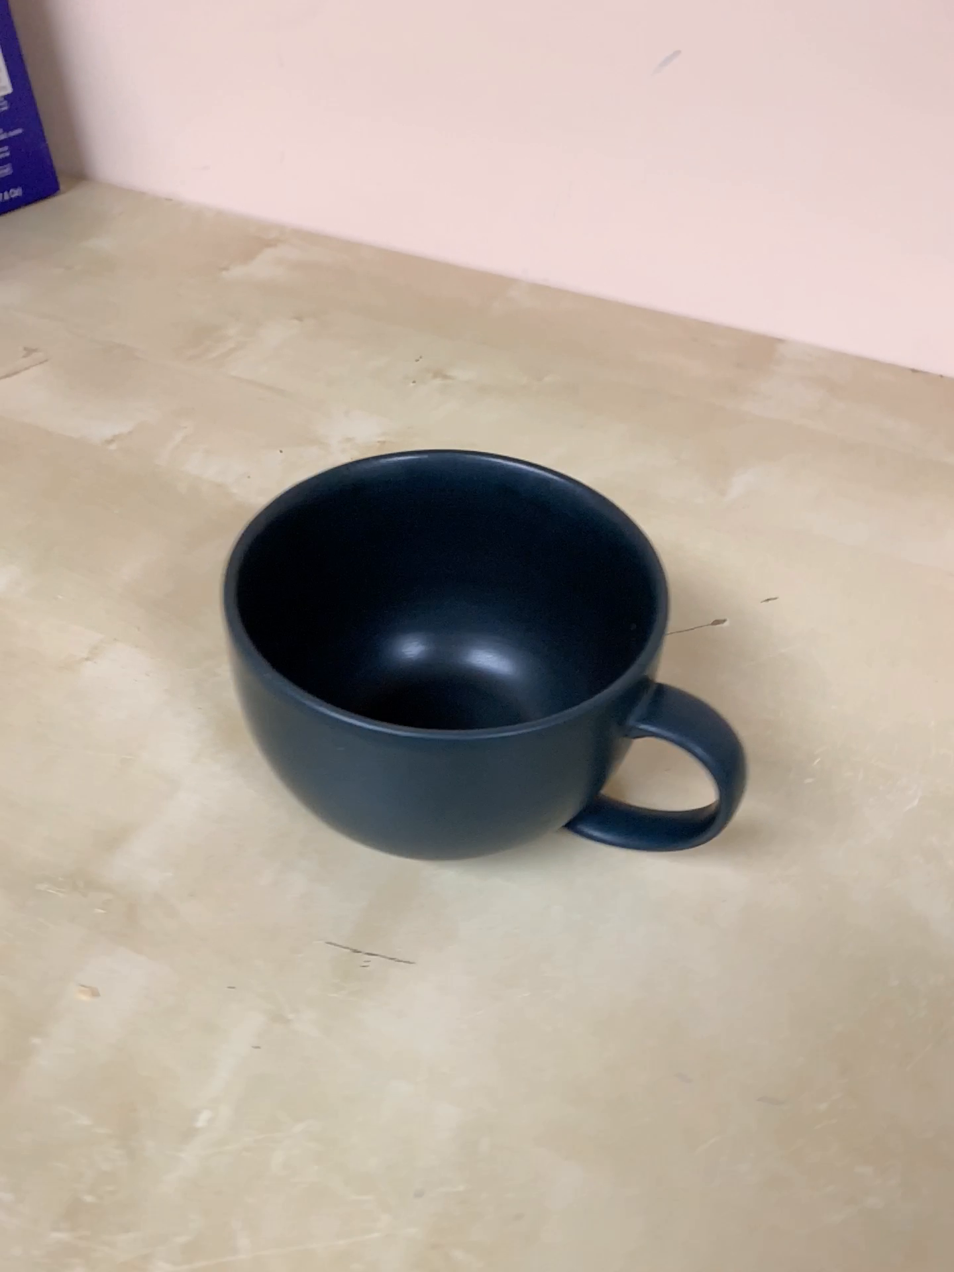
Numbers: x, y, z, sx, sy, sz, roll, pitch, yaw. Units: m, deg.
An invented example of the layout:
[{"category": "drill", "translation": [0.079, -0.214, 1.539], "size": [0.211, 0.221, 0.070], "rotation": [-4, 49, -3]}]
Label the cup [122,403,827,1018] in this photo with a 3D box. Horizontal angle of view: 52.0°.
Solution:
[{"category": "cup", "translation": [0.006, 0.009, 0.303], "size": [0.158, 0.068, 0.136], "rotation": [20, 46, 17]}]
